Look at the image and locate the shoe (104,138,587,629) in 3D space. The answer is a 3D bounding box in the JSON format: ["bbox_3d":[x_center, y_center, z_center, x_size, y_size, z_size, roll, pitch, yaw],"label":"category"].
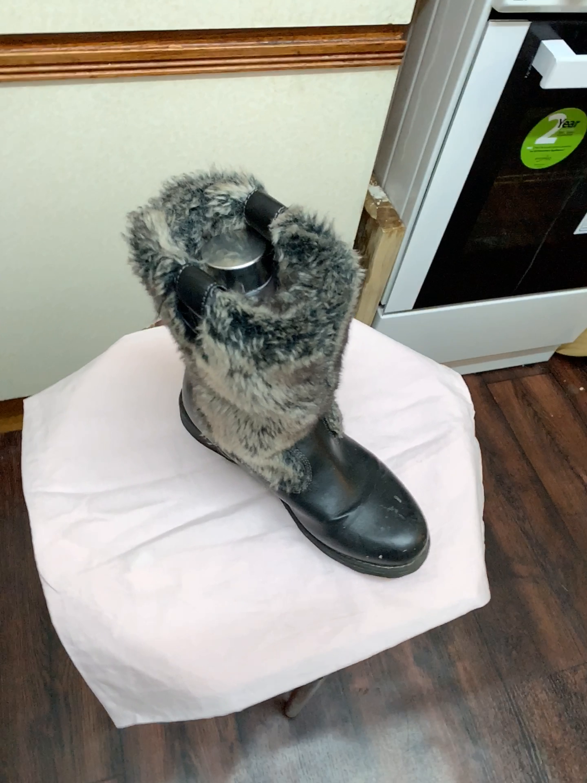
[{"bbox_3d":[0.020,0.006,0.437,0.271,0.238,0.121,35,58,16],"label":"shoe"}]
